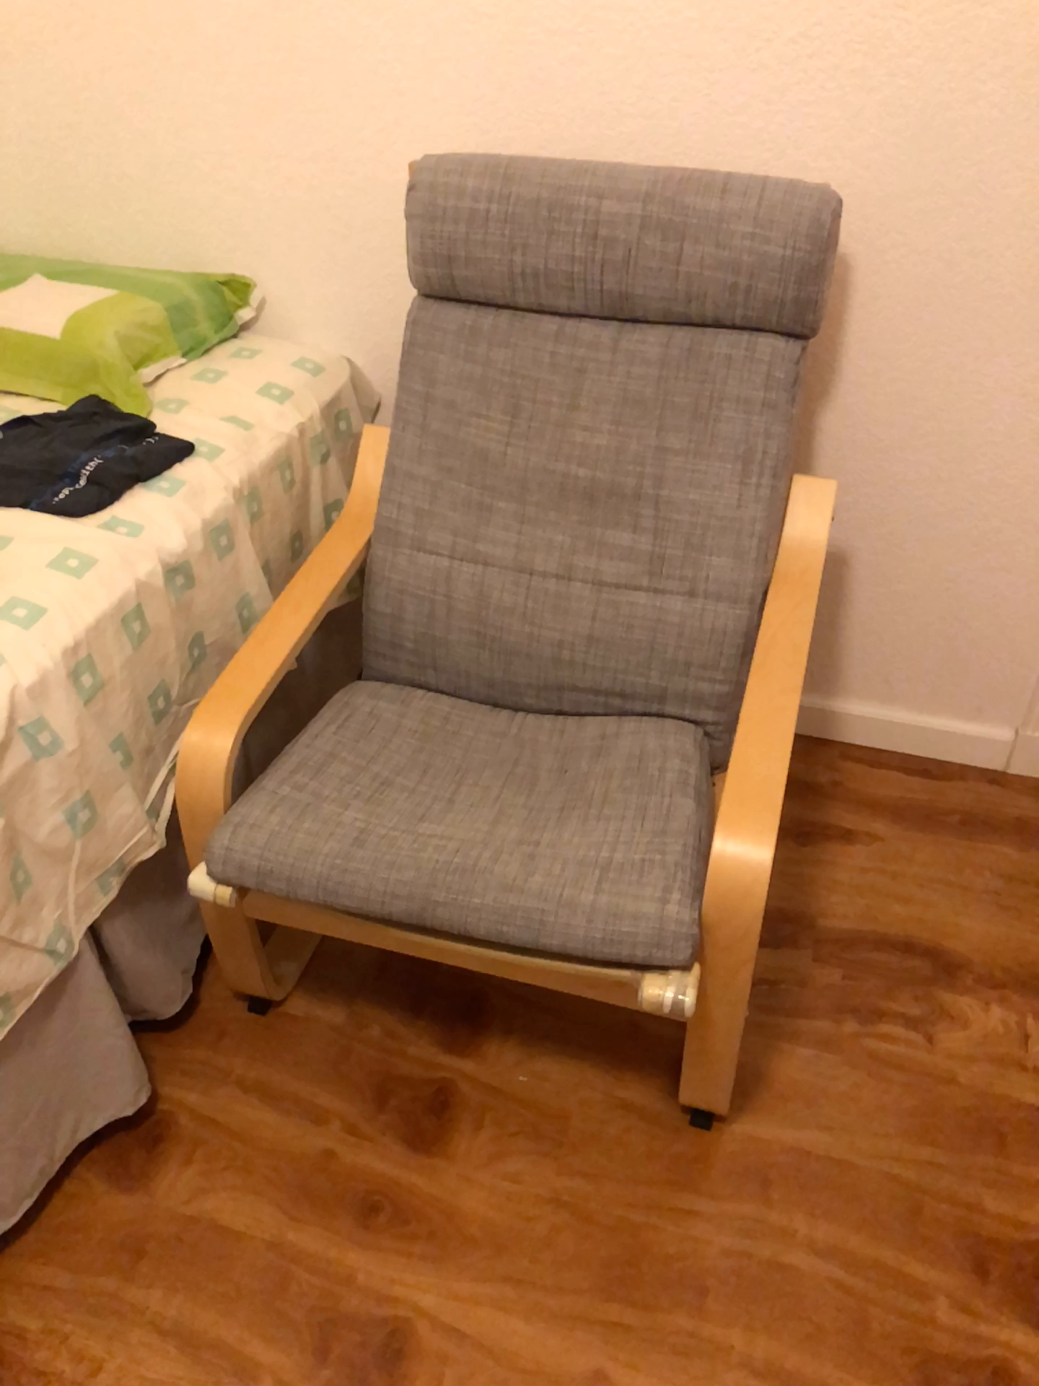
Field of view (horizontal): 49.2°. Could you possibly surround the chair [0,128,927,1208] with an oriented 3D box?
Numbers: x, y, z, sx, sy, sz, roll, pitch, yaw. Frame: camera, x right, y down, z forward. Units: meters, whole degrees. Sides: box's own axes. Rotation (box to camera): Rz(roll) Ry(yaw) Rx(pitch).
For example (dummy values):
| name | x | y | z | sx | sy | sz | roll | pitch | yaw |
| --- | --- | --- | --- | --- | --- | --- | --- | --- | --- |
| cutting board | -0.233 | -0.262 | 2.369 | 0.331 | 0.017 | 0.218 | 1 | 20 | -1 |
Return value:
| name | x | y | z | sx | sy | sz | roll | pitch | yaw |
| --- | --- | --- | --- | --- | --- | --- | --- | --- | --- |
| chair | 0.025 | -0.085 | 1.360 | 0.680 | 0.885 | 0.804 | 11 | 39 | 15 |
